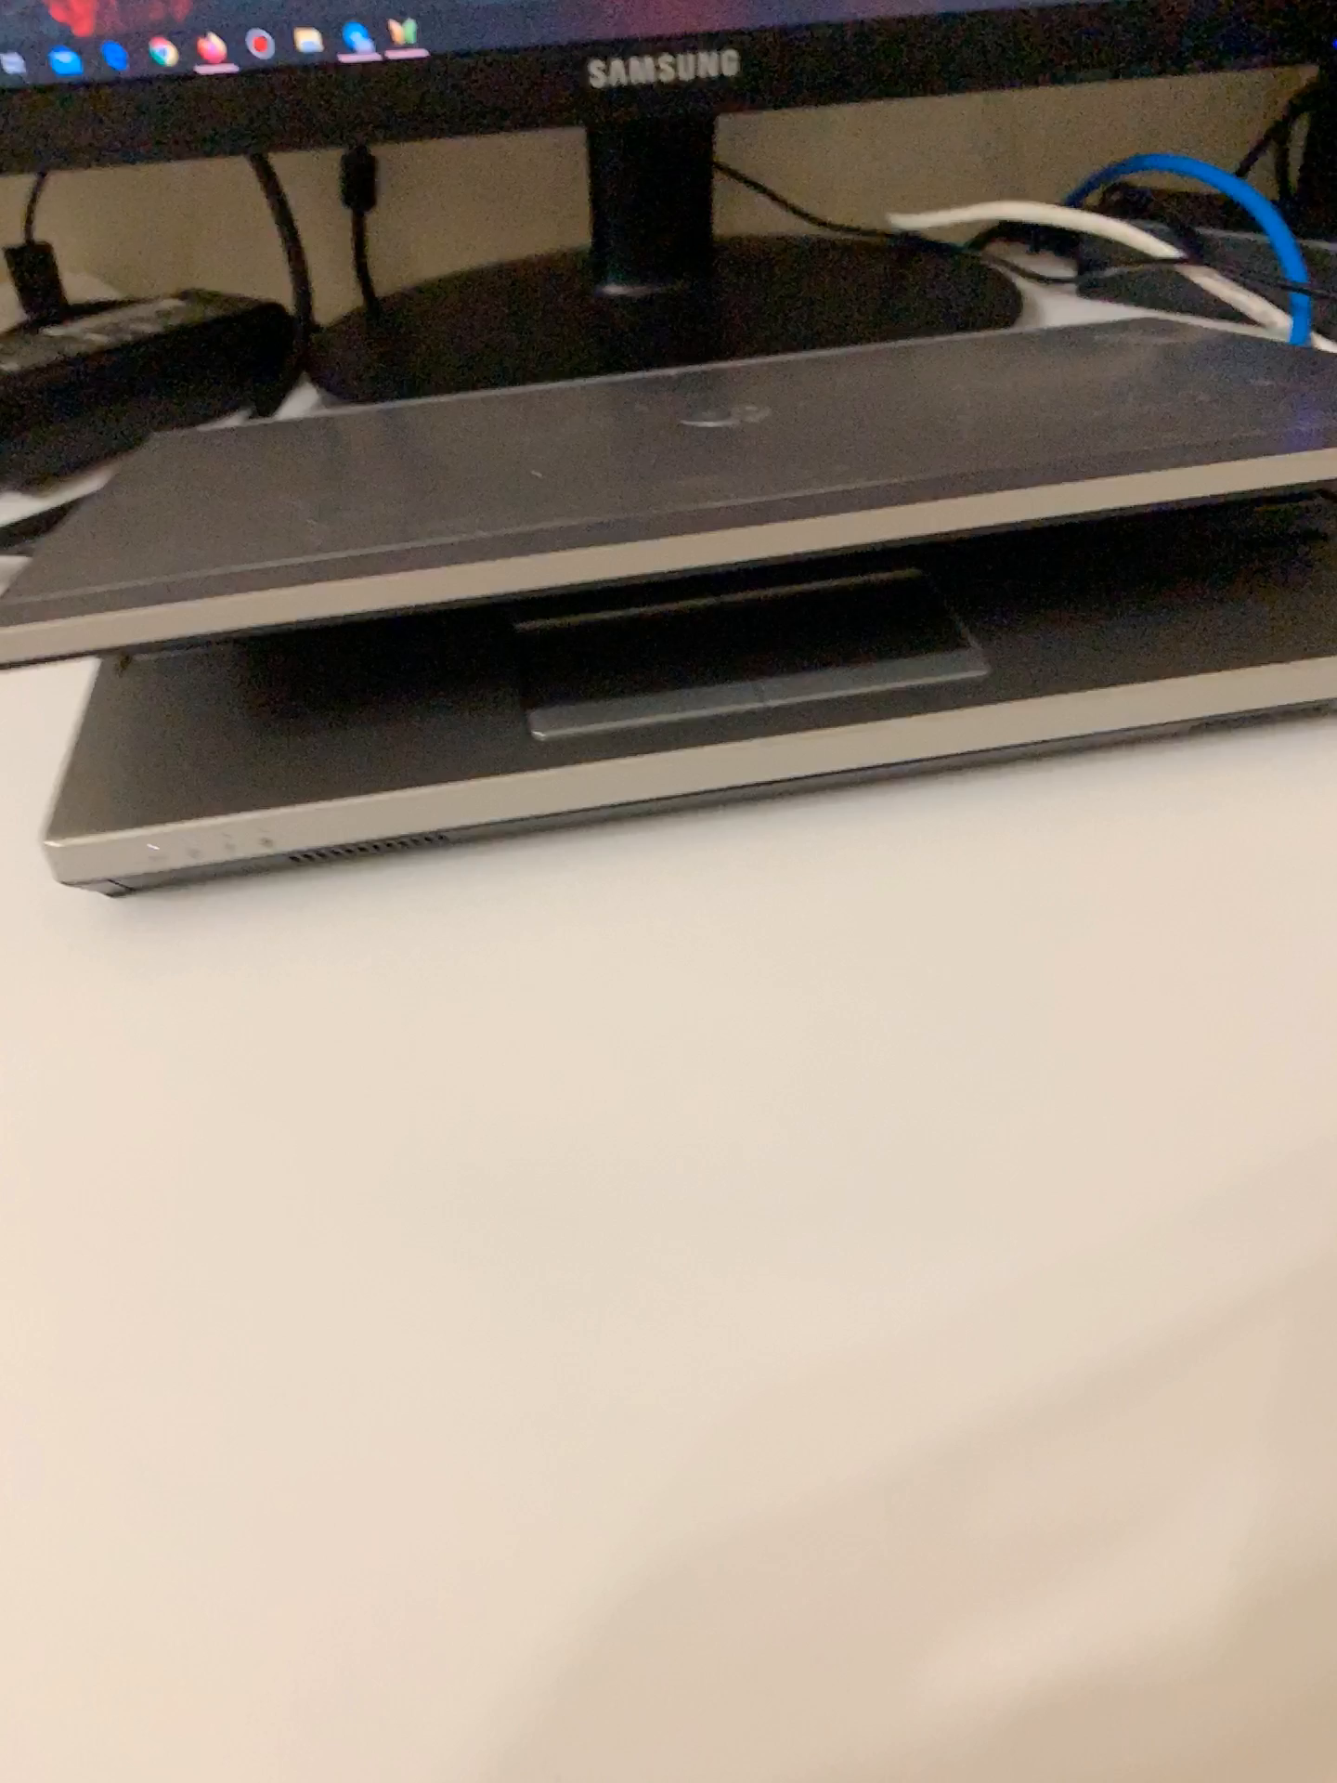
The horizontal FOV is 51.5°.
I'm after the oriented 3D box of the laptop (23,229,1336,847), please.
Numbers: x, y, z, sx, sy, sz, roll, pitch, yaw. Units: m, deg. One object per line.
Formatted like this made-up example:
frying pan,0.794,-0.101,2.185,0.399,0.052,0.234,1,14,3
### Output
laptop,0.020,-0.099,0.326,0.292,0.029,0.184,-9,40,-5
